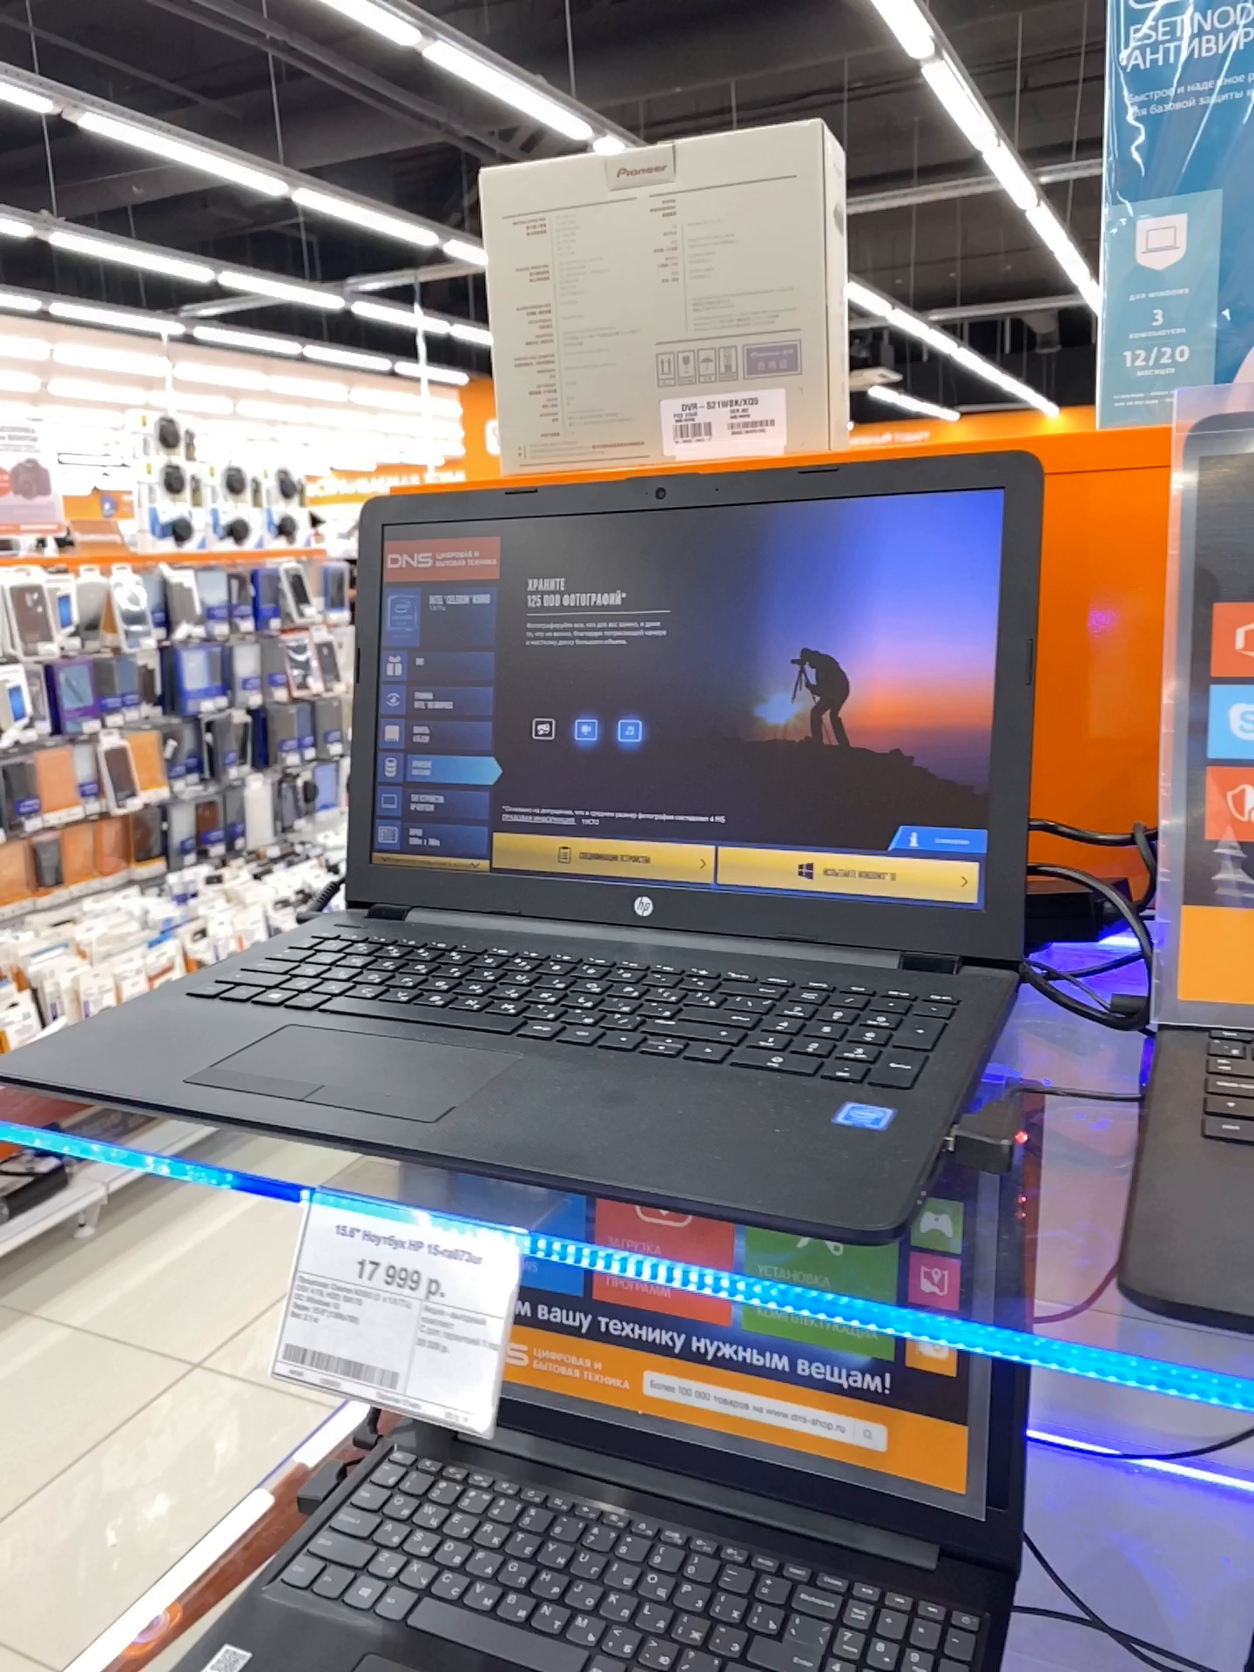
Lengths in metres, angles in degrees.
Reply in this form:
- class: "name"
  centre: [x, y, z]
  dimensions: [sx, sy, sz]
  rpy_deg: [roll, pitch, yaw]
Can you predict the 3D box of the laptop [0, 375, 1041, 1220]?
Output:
- class: "laptop"
  centre: [-0.034, -0.046, 0.583]
  dimensions: [0.389, 0.236, 0.322]
  rpy_deg: [3, 12, 25]
